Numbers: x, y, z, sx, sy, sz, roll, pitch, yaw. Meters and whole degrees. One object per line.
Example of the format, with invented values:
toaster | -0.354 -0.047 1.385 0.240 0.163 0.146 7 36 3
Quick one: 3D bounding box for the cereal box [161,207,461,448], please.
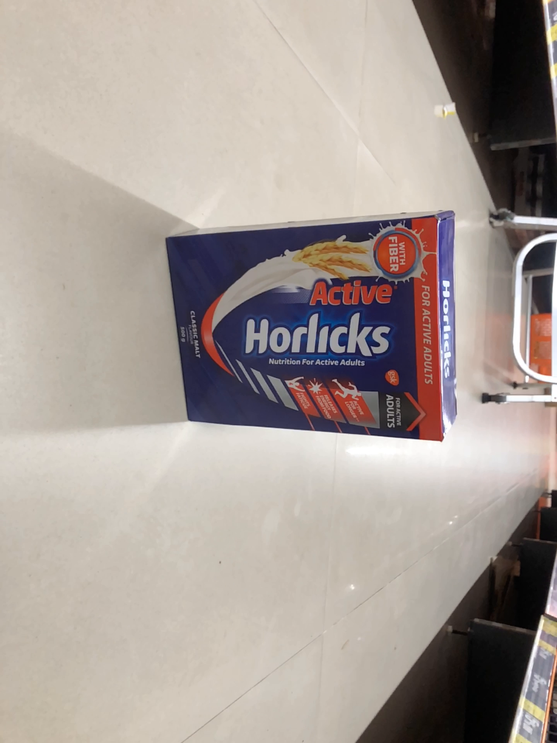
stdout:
cereal box | 0.022 -0.031 0.419 0.050 0.189 0.140 -33 122 -60
